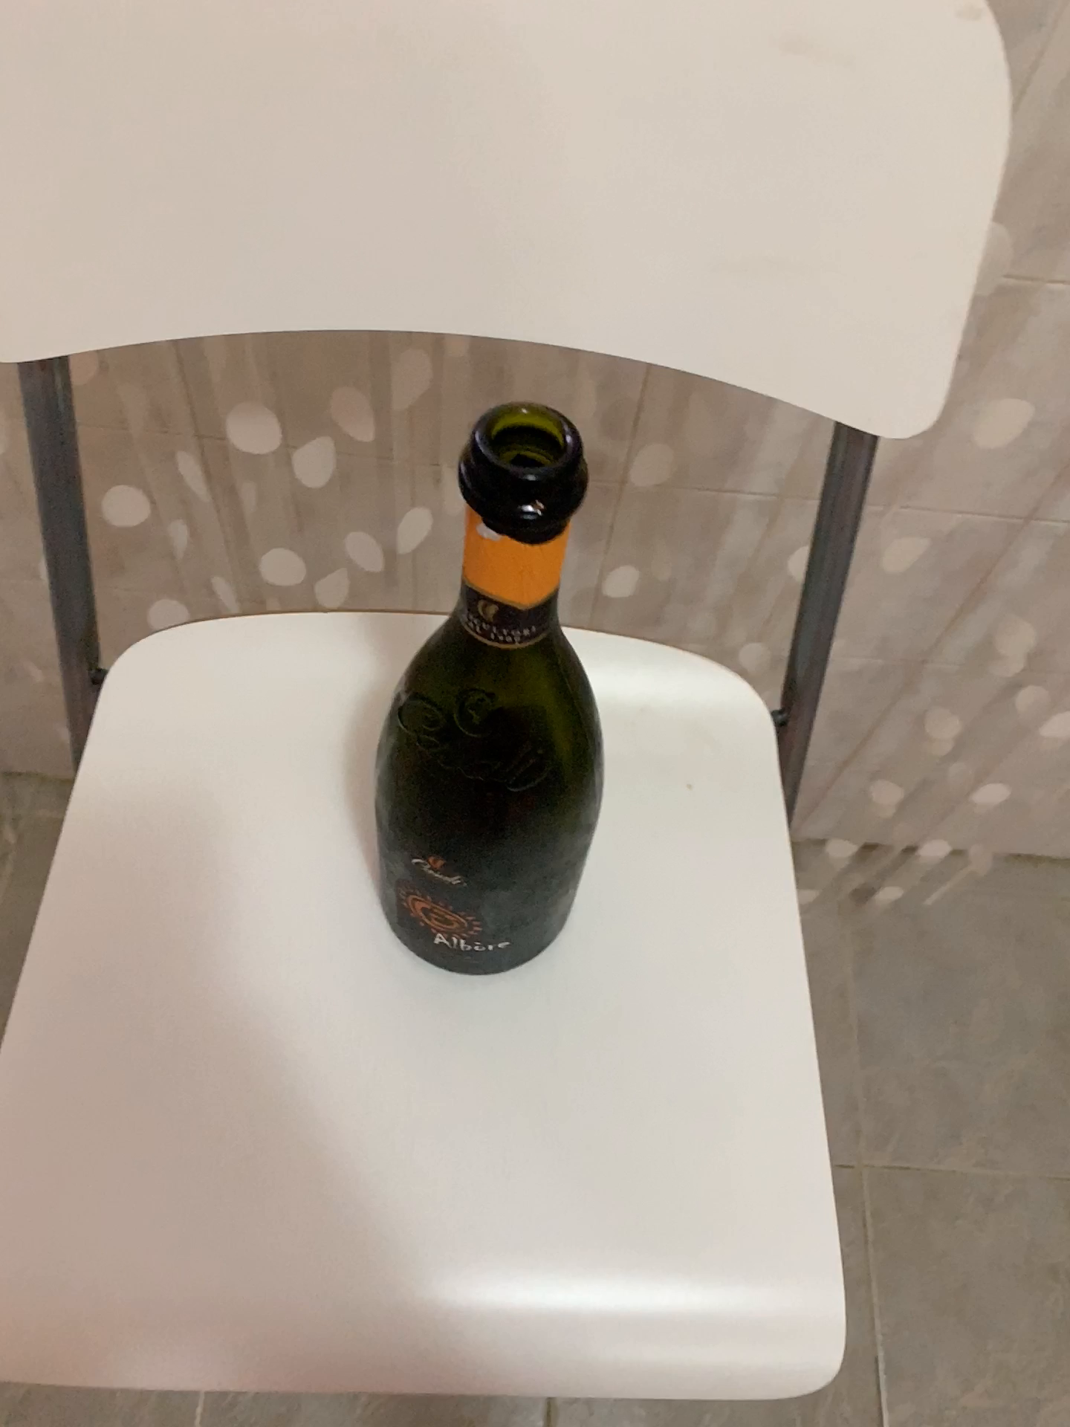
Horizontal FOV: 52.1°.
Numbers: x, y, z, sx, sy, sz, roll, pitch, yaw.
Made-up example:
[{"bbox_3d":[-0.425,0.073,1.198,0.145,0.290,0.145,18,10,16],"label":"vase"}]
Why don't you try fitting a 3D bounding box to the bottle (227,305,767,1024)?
[{"bbox_3d":[-0.017,0.012,0.380,0.101,0.269,0.093,2,61,-4],"label":"bottle"}]
